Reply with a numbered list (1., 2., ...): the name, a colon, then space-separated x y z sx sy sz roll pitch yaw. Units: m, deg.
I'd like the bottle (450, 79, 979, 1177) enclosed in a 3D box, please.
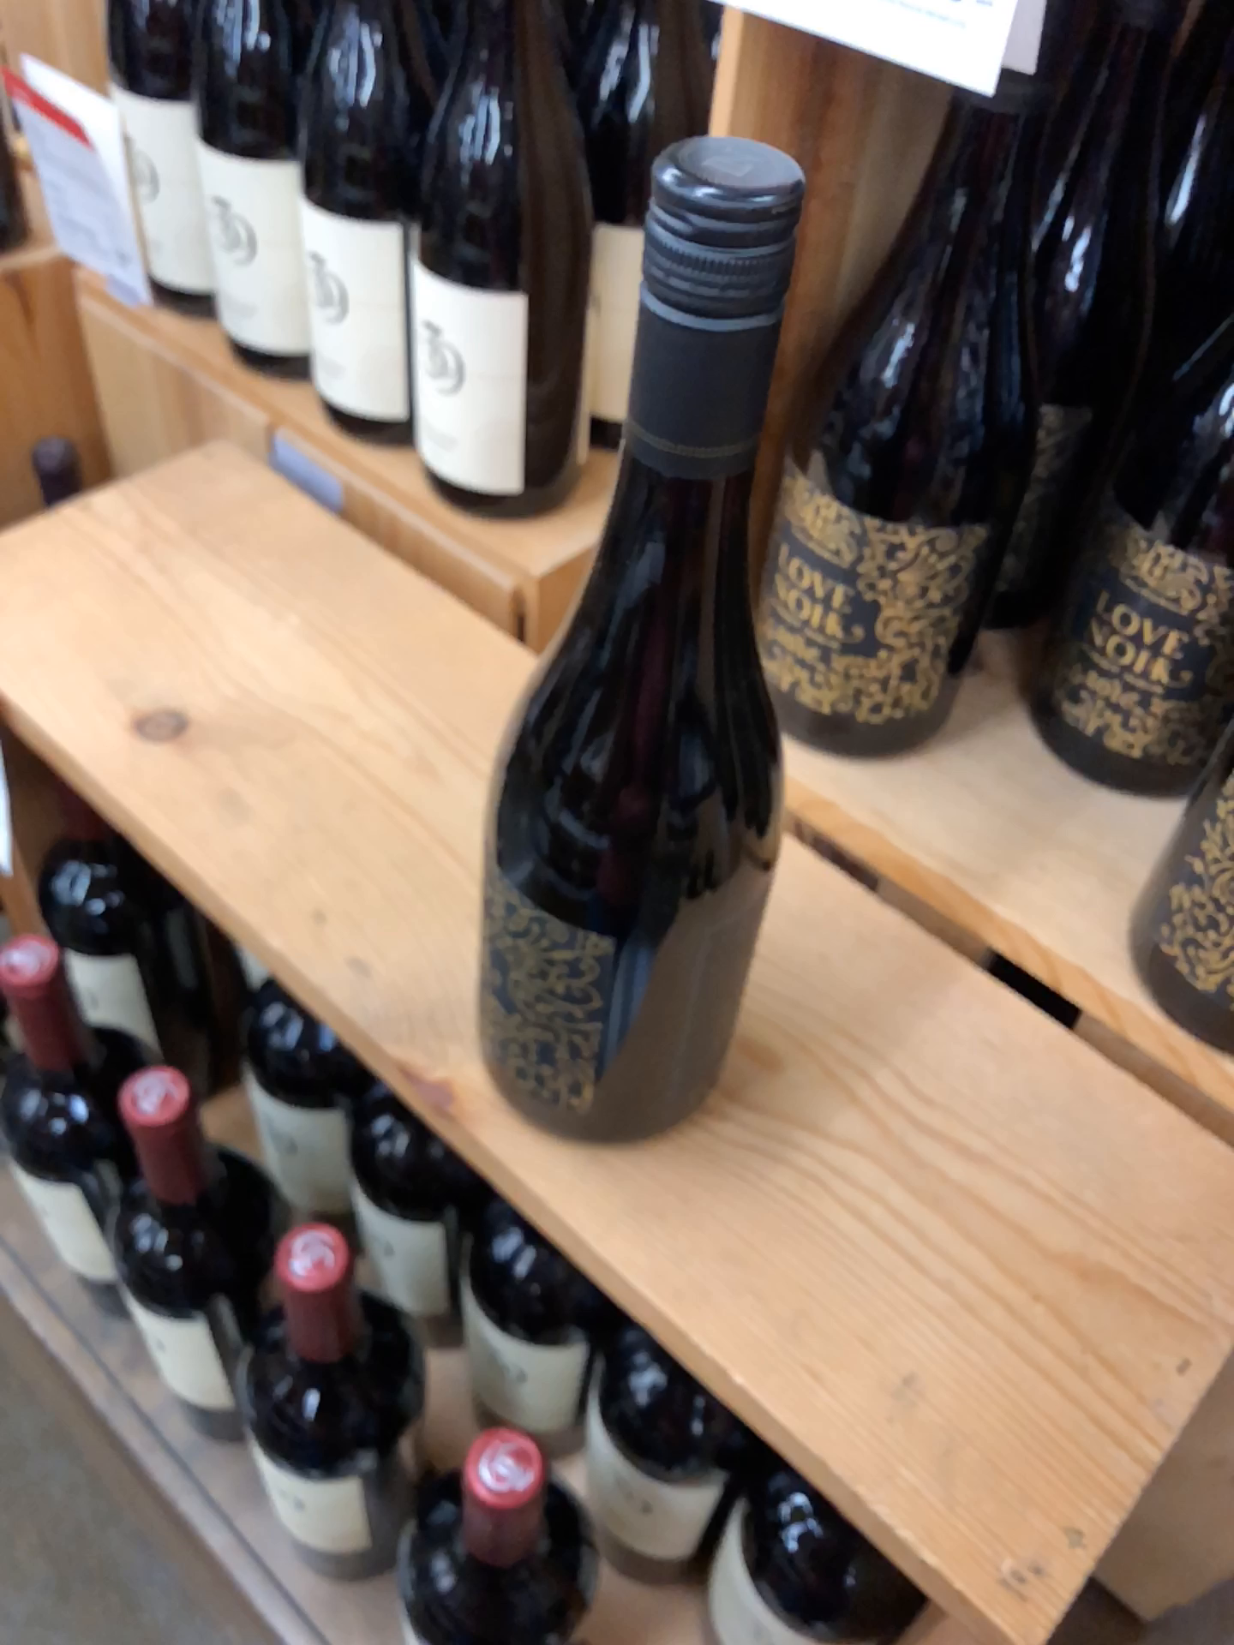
1. bottle: 0.002 -0.021 0.358 0.085 0.284 0.090 3 47 -3
